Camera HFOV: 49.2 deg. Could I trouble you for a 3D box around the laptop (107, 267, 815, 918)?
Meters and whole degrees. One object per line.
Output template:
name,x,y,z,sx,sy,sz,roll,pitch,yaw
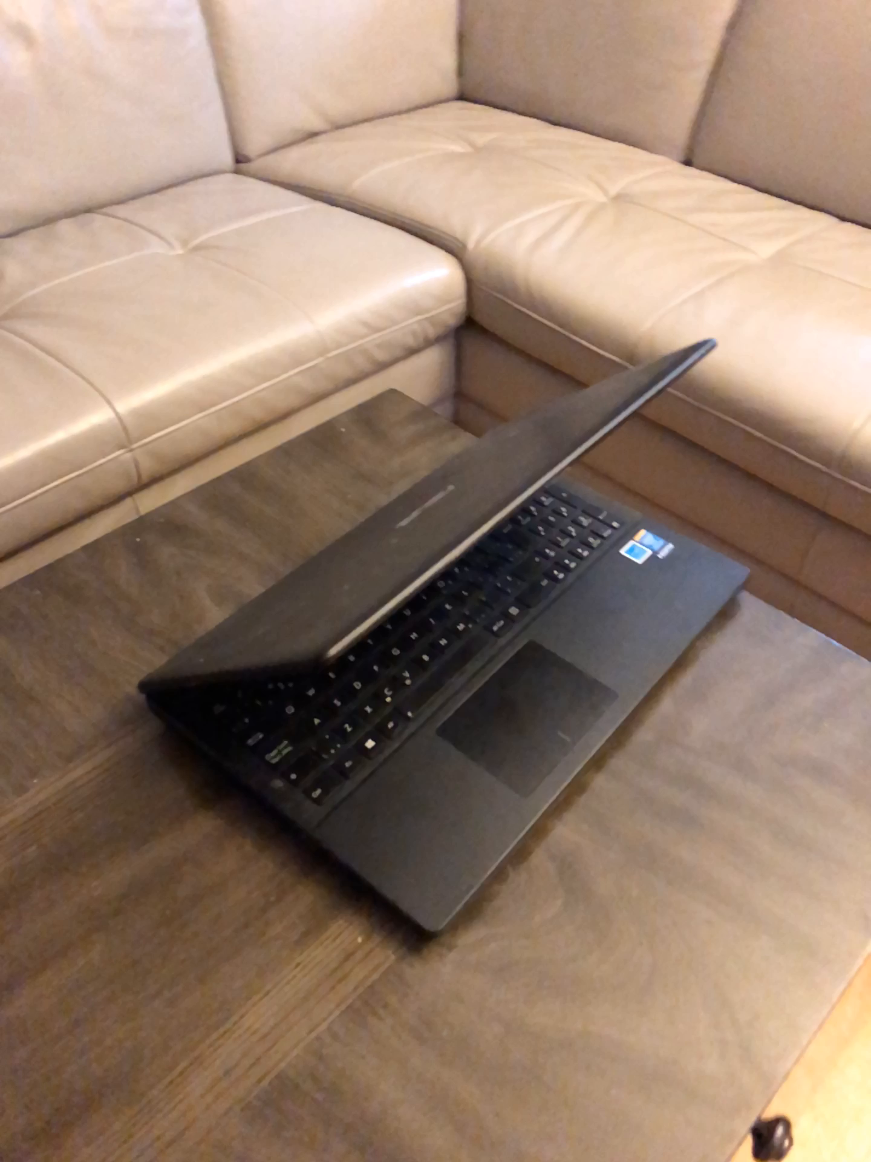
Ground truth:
laptop,0.034,-0.027,0.621,0.239,0.164,0.373,31,51,27
